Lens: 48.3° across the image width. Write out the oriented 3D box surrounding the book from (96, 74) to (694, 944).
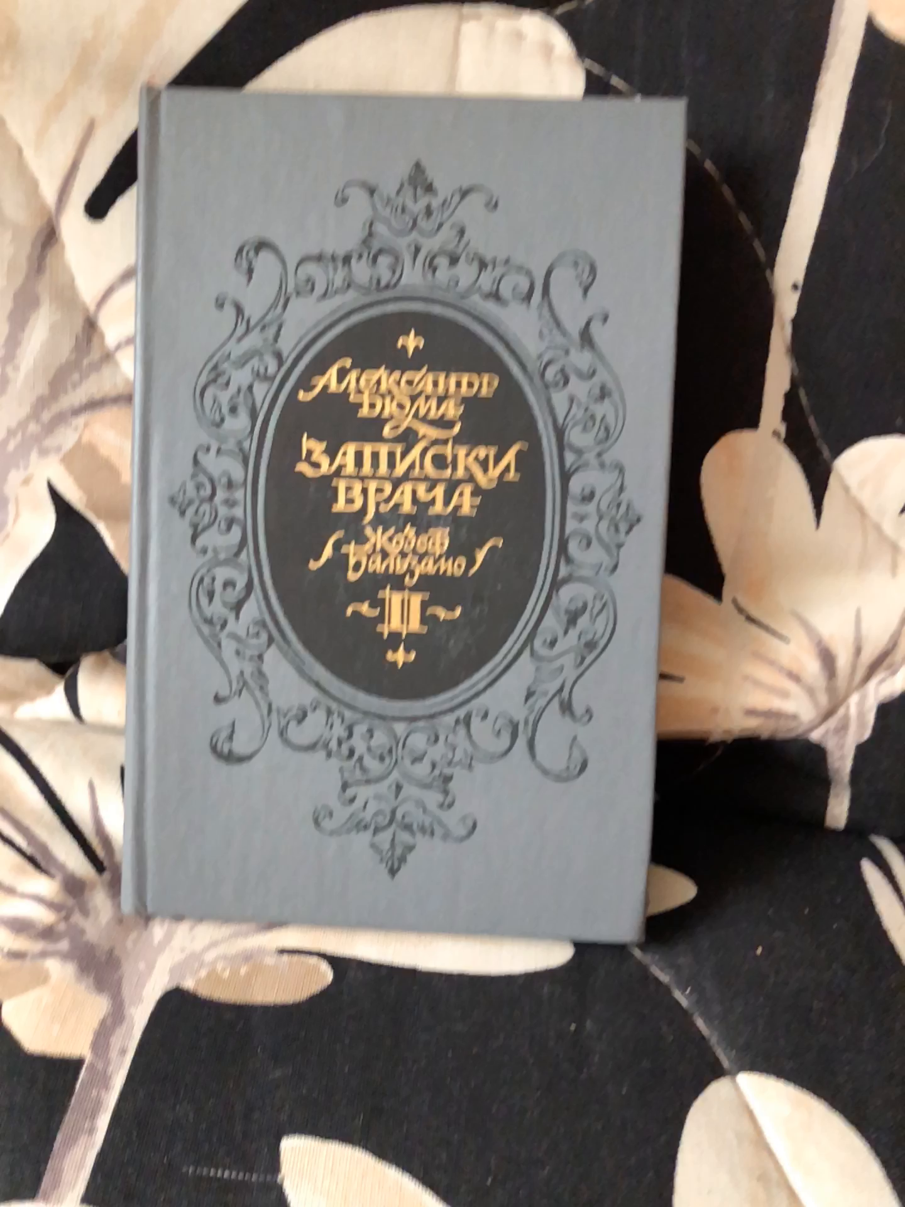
[{"bbox_3d":[-0.016,-0.023,0.260,0.140,0.030,0.206,2,93,3],"label":"book"}]
